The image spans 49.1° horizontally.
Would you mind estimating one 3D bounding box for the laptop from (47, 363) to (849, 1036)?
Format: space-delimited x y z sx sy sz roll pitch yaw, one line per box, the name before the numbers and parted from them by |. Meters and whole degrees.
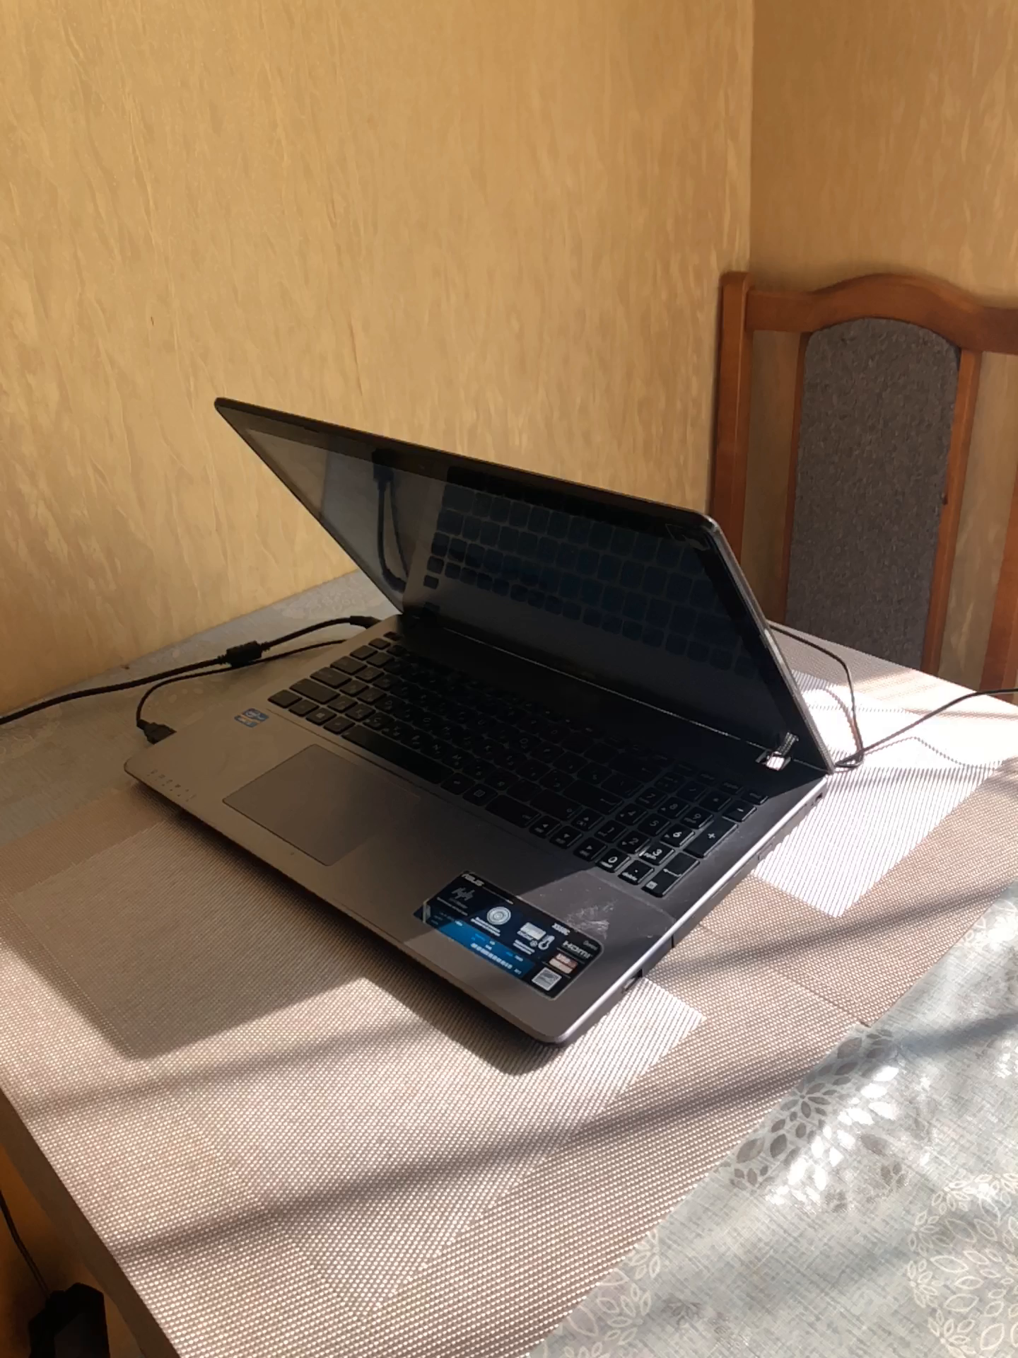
laptop | -0.039 -0.029 0.642 0.364 0.197 0.241 21 40 38
